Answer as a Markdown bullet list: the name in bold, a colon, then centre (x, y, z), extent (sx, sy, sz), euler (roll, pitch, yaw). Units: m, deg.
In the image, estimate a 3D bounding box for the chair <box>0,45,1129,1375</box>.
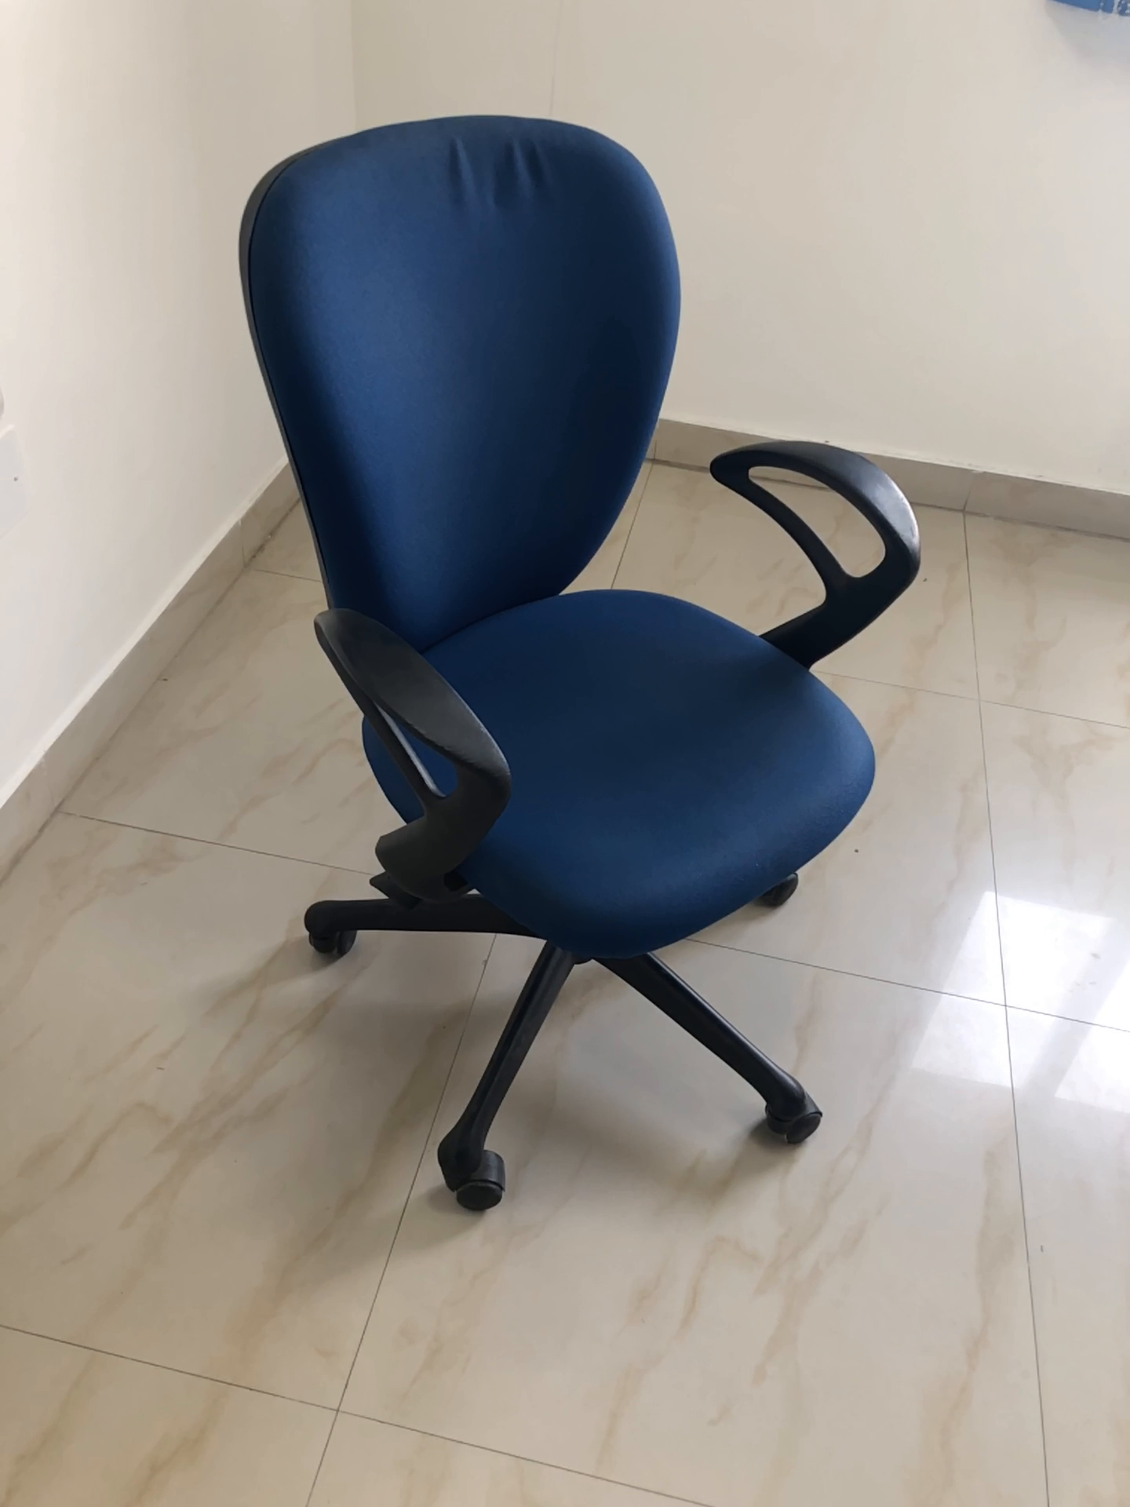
- **chair**: centre (0.042, -0.064, 1.208), extent (0.701, 0.914, 0.654), euler (21, 43, 18)
